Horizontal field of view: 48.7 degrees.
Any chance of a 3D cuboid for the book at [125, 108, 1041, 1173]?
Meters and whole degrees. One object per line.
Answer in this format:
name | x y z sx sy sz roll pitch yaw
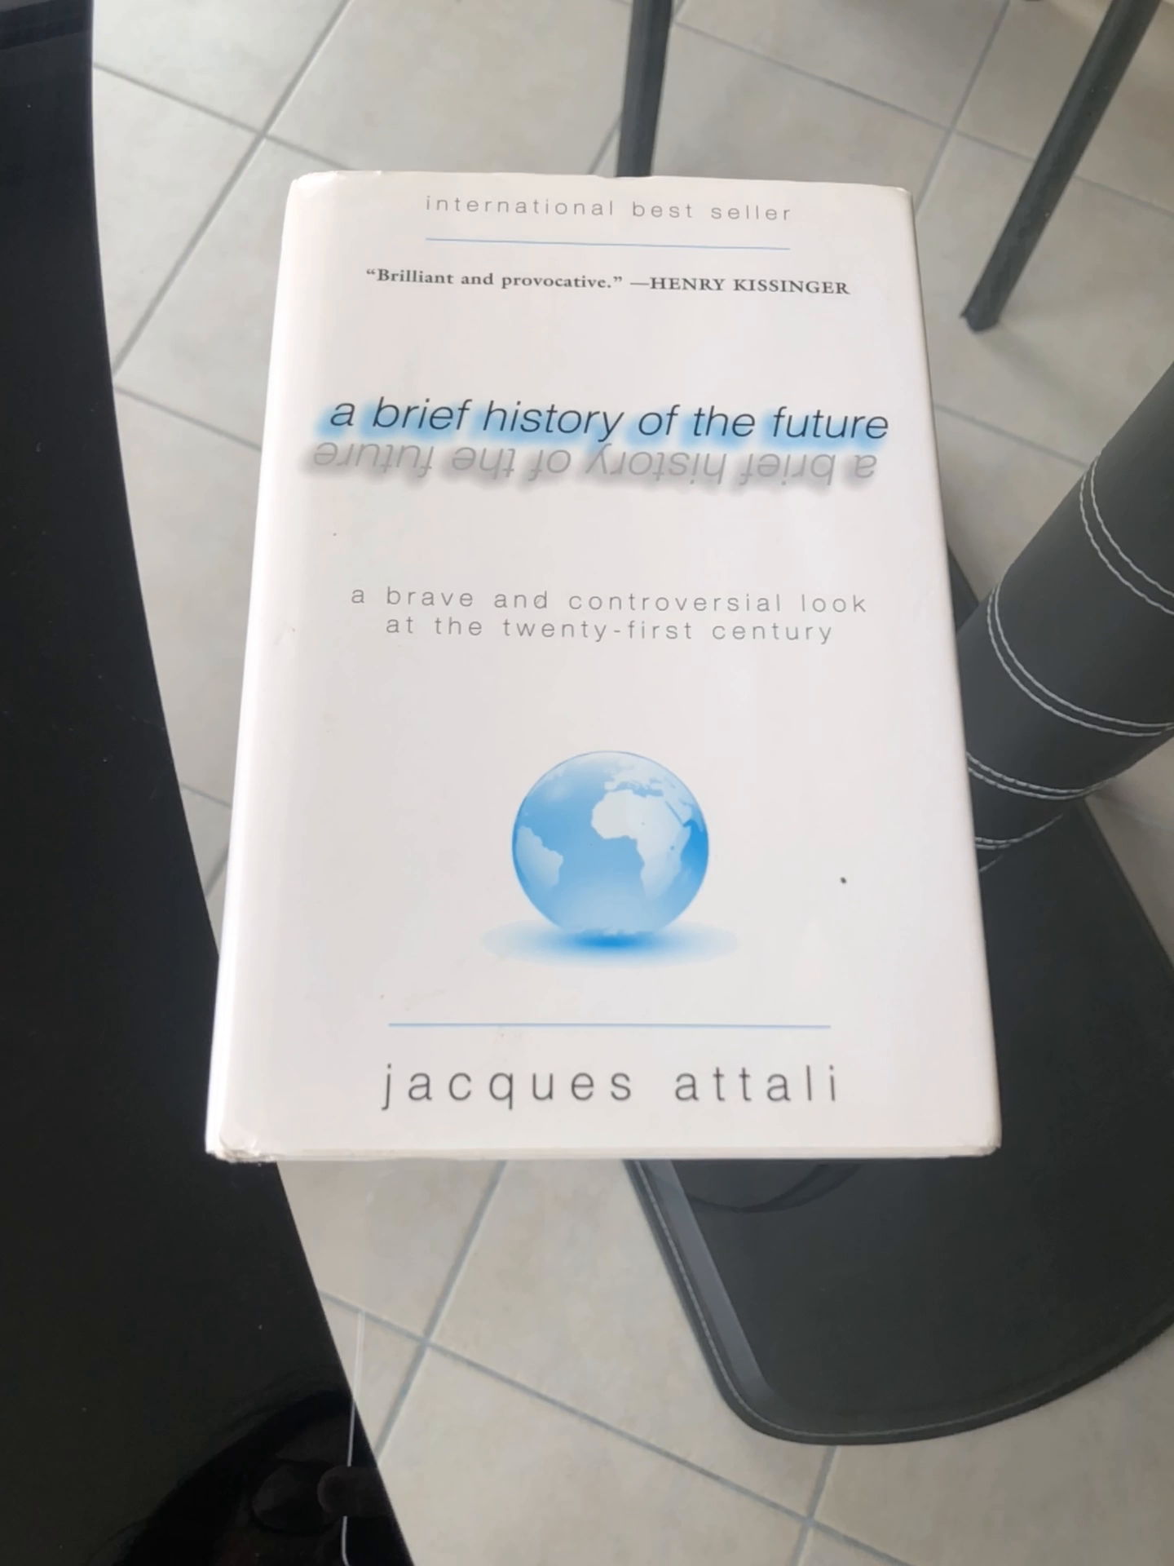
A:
book | 0.001 -0.032 0.262 0.150 0.040 0.210 2 73 -3
